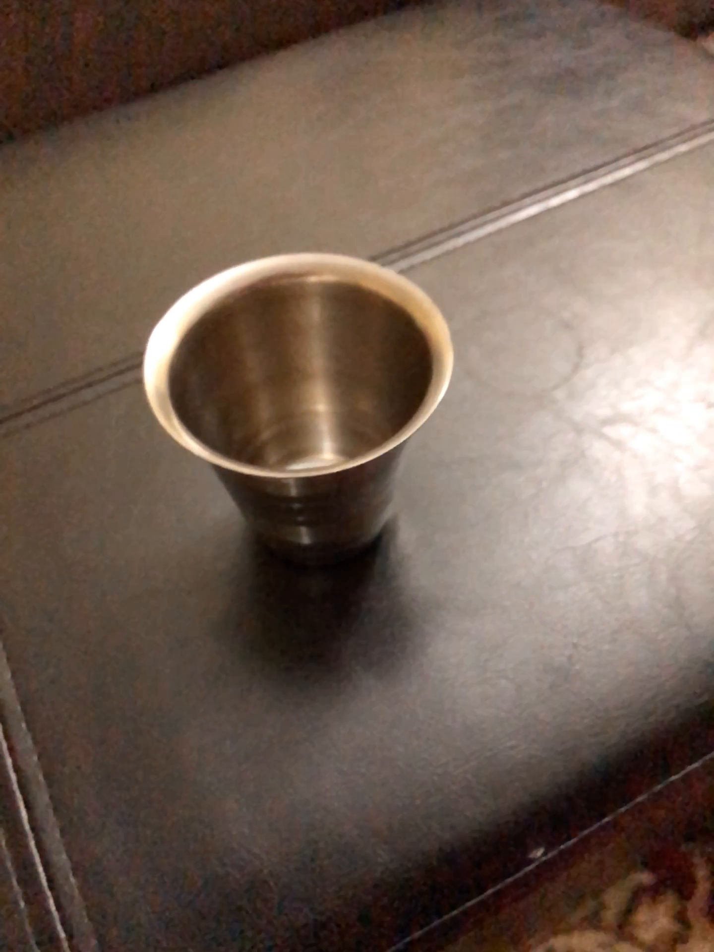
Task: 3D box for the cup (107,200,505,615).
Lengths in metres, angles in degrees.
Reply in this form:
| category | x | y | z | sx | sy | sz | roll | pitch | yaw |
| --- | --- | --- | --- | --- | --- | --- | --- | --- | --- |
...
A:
| category | x | y | z | sx | sy | sz | roll | pitch | yaw |
| --- | --- | --- | --- | --- | --- | --- | --- | --- | --- |
| cup | -0.013 | -0.017 | 0.194 | 0.074 | 0.052 | 0.067 | -2 | 54 | 3 |
